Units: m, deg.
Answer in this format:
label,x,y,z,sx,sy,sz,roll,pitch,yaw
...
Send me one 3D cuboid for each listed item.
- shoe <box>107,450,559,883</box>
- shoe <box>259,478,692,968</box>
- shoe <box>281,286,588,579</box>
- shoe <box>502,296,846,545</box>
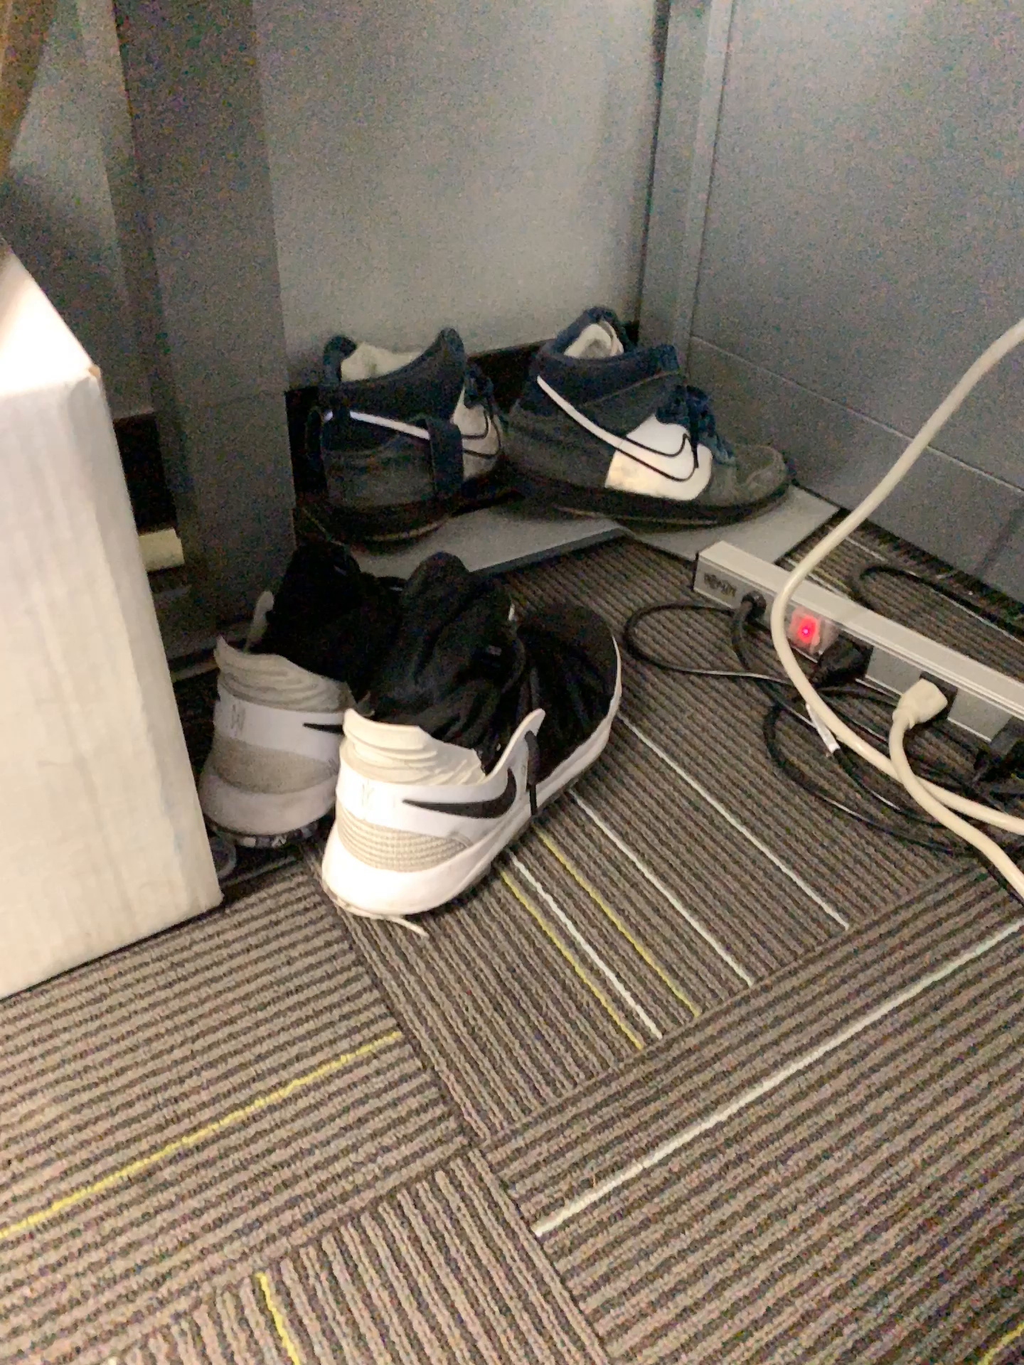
label,x,y,z,sx,sy,sz,roll,pitch,yaw
shoe,-0.096,-0.028,0.688,0.100,0.129,0.301,24,42,26
shoe,-0.006,0.005,0.623,0.100,0.129,0.291,22,41,23
shoe,-0.060,-0.248,0.976,0.130,0.169,0.331,17,32,19
shoe,0.139,-0.241,0.974,0.260,0.159,0.131,4,36,-11
